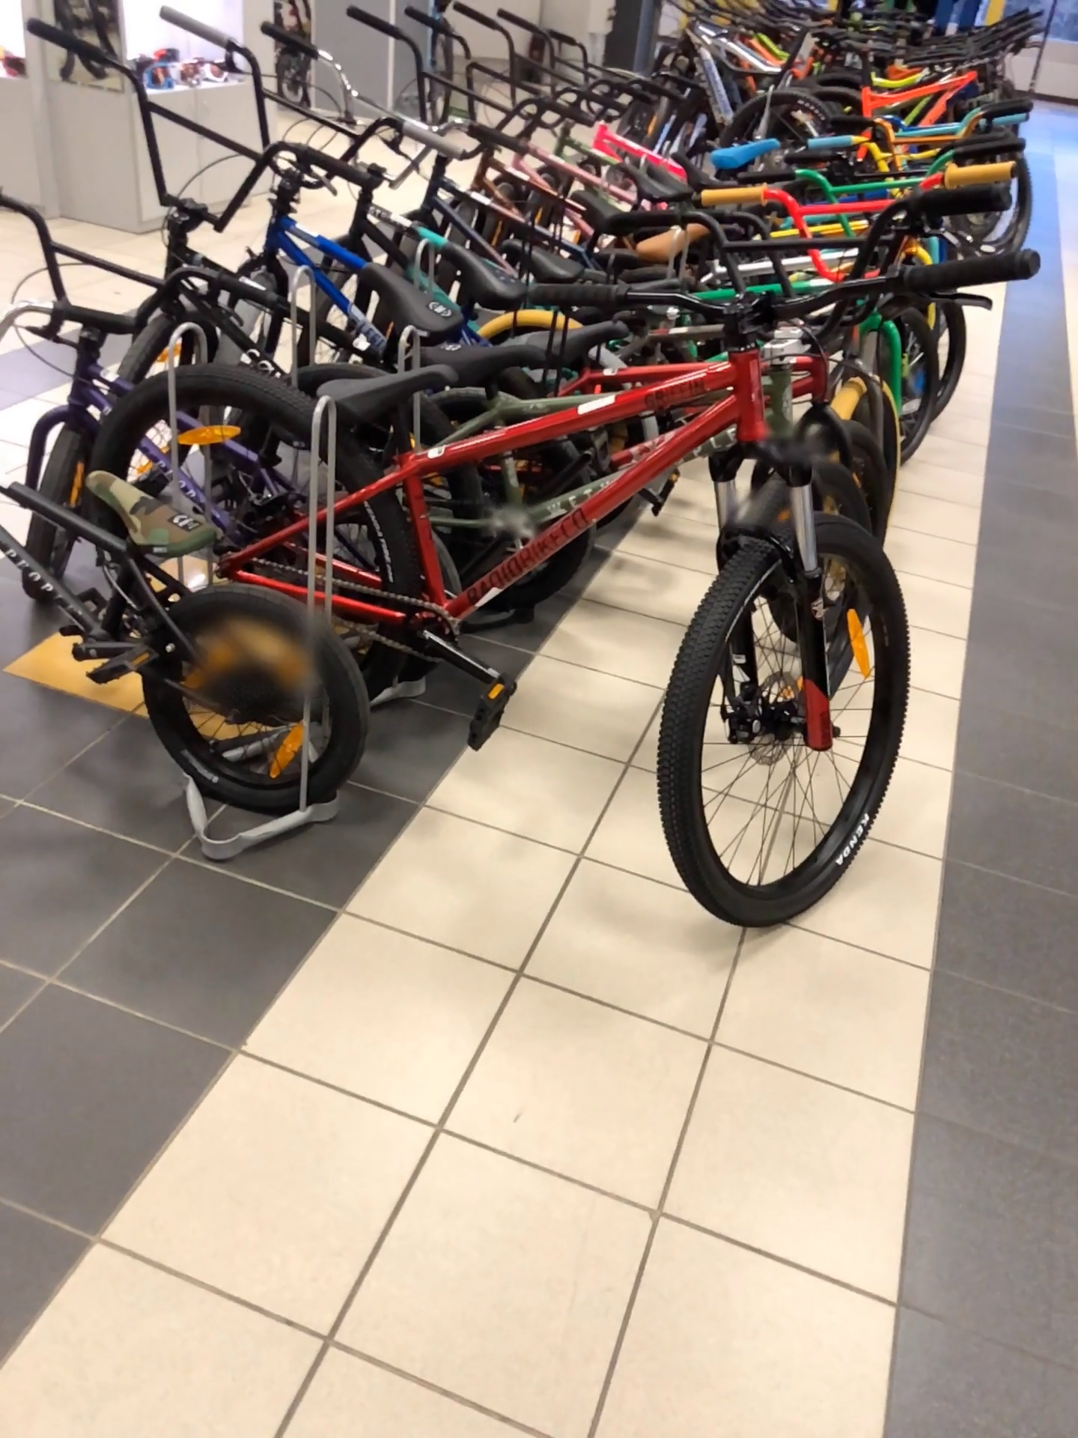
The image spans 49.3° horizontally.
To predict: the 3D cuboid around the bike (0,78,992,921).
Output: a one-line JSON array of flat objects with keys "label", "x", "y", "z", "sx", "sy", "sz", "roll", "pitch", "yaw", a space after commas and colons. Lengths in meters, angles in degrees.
[{"label": "bike", "x": -0.103, "y": -0.388, "z": 1.918, "sx": 1.336, "sy": 0.997, "sz": 0.716, "roll": 11, "pitch": 32, "yaw": 6}]
